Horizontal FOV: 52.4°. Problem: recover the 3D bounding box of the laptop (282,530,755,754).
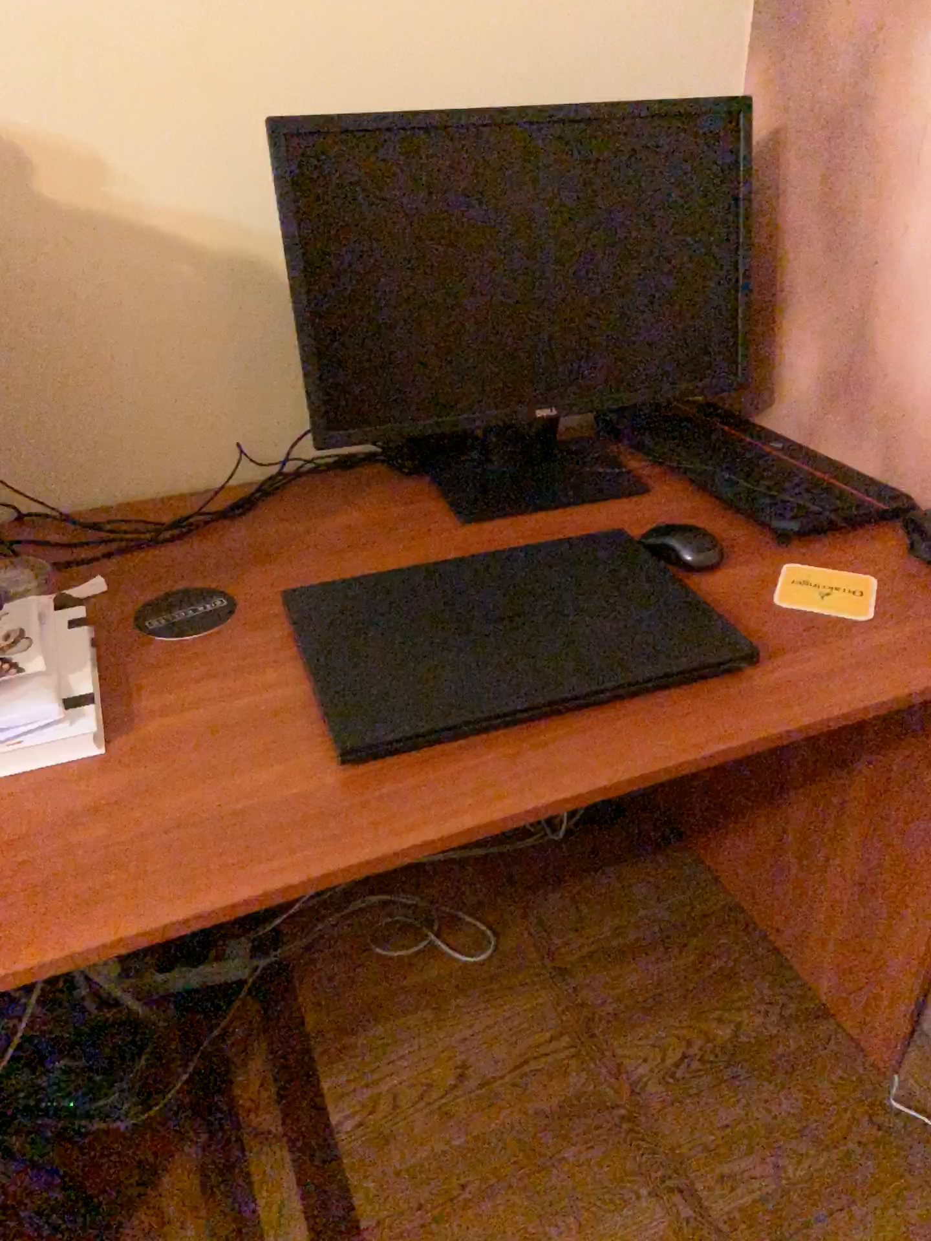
[{"bbox_3d":[0.036,0.001,0.846,0.360,0.002,0.249,-11,33,-17],"label":"laptop"}]
